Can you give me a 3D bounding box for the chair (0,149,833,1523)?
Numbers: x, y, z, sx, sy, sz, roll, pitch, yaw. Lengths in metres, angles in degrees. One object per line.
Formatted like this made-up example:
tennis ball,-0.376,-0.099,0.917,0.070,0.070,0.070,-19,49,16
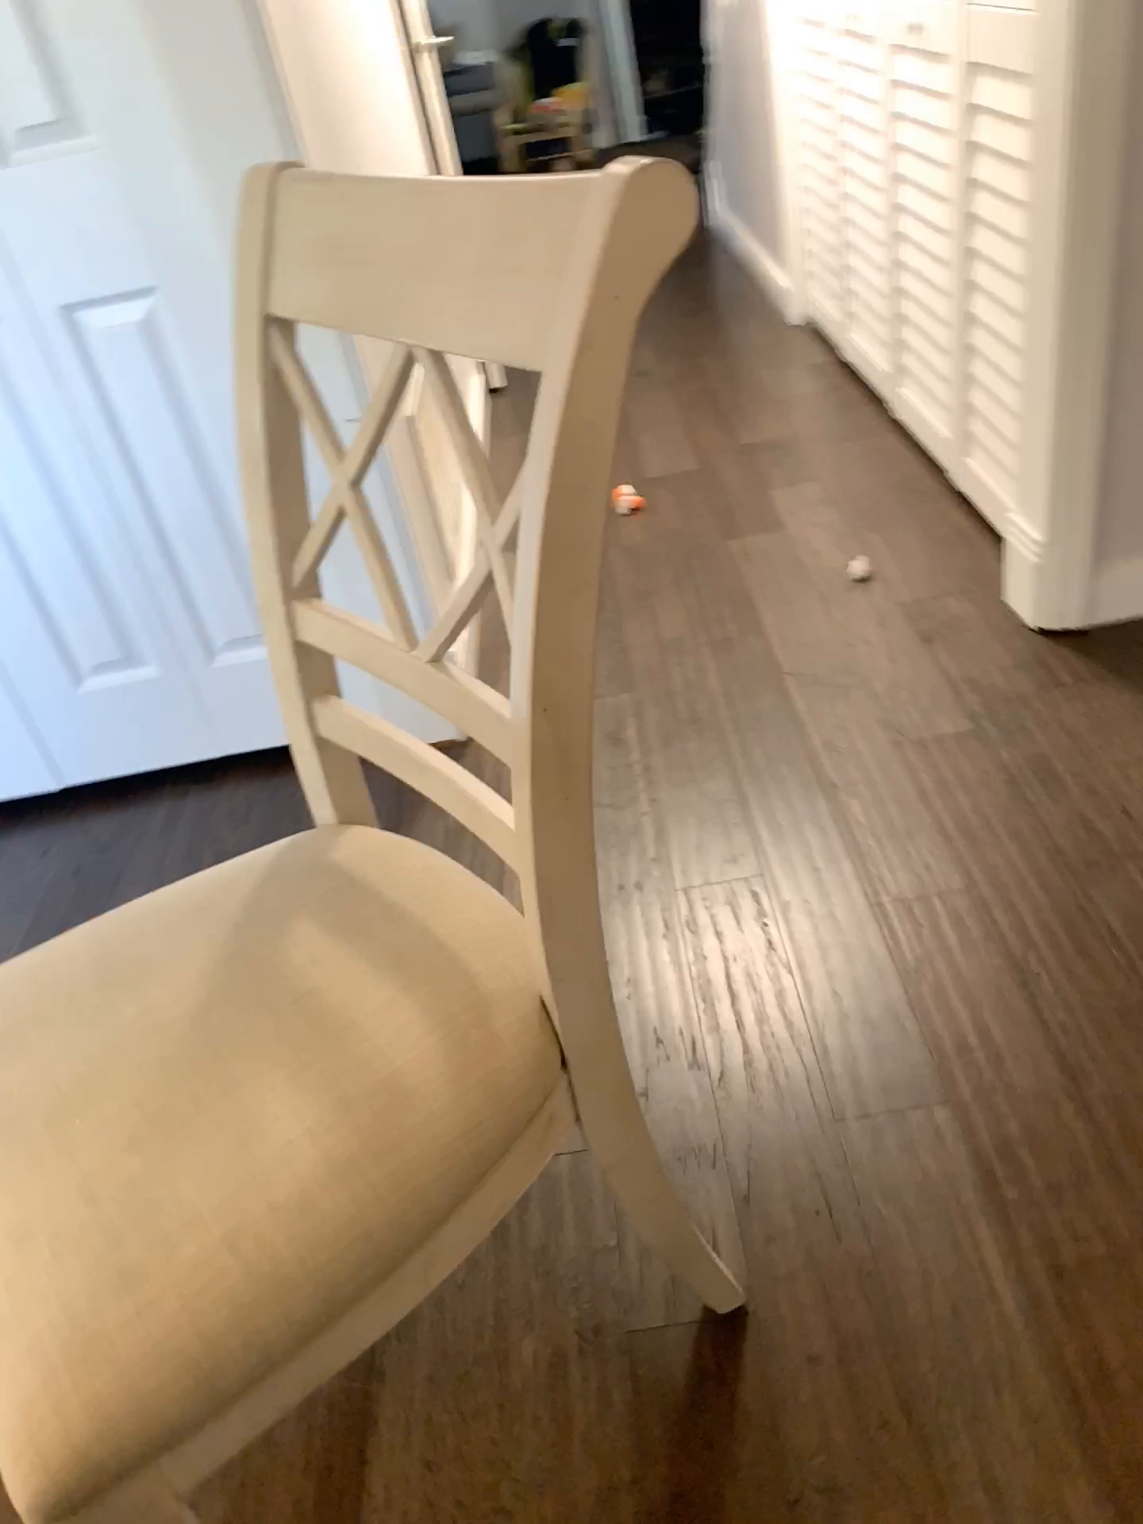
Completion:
chair,-0.257,0.143,0.852,0.651,0.924,0.533,-31,39,-24
